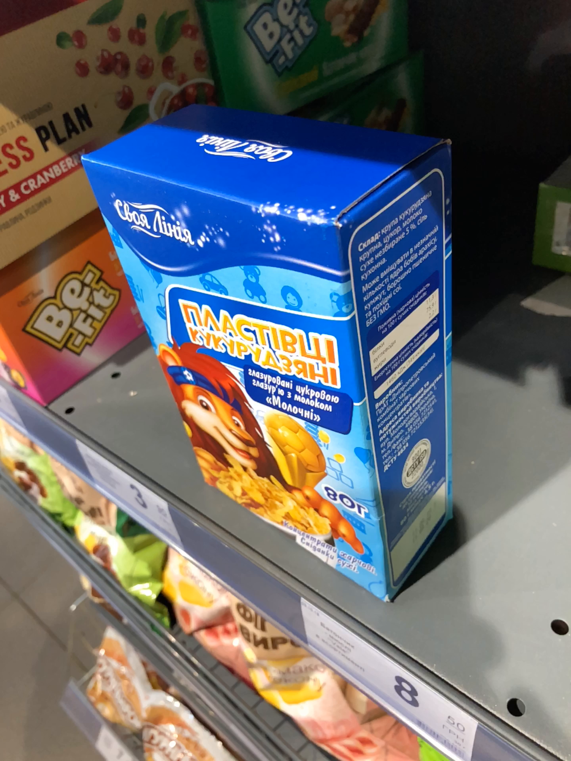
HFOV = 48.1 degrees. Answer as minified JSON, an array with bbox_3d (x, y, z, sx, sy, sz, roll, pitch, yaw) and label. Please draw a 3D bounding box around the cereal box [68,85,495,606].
[{"bbox_3d":[0.006,-0.011,0.248,0.120,0.169,0.060,25,53,34],"label":"cereal box"}]
